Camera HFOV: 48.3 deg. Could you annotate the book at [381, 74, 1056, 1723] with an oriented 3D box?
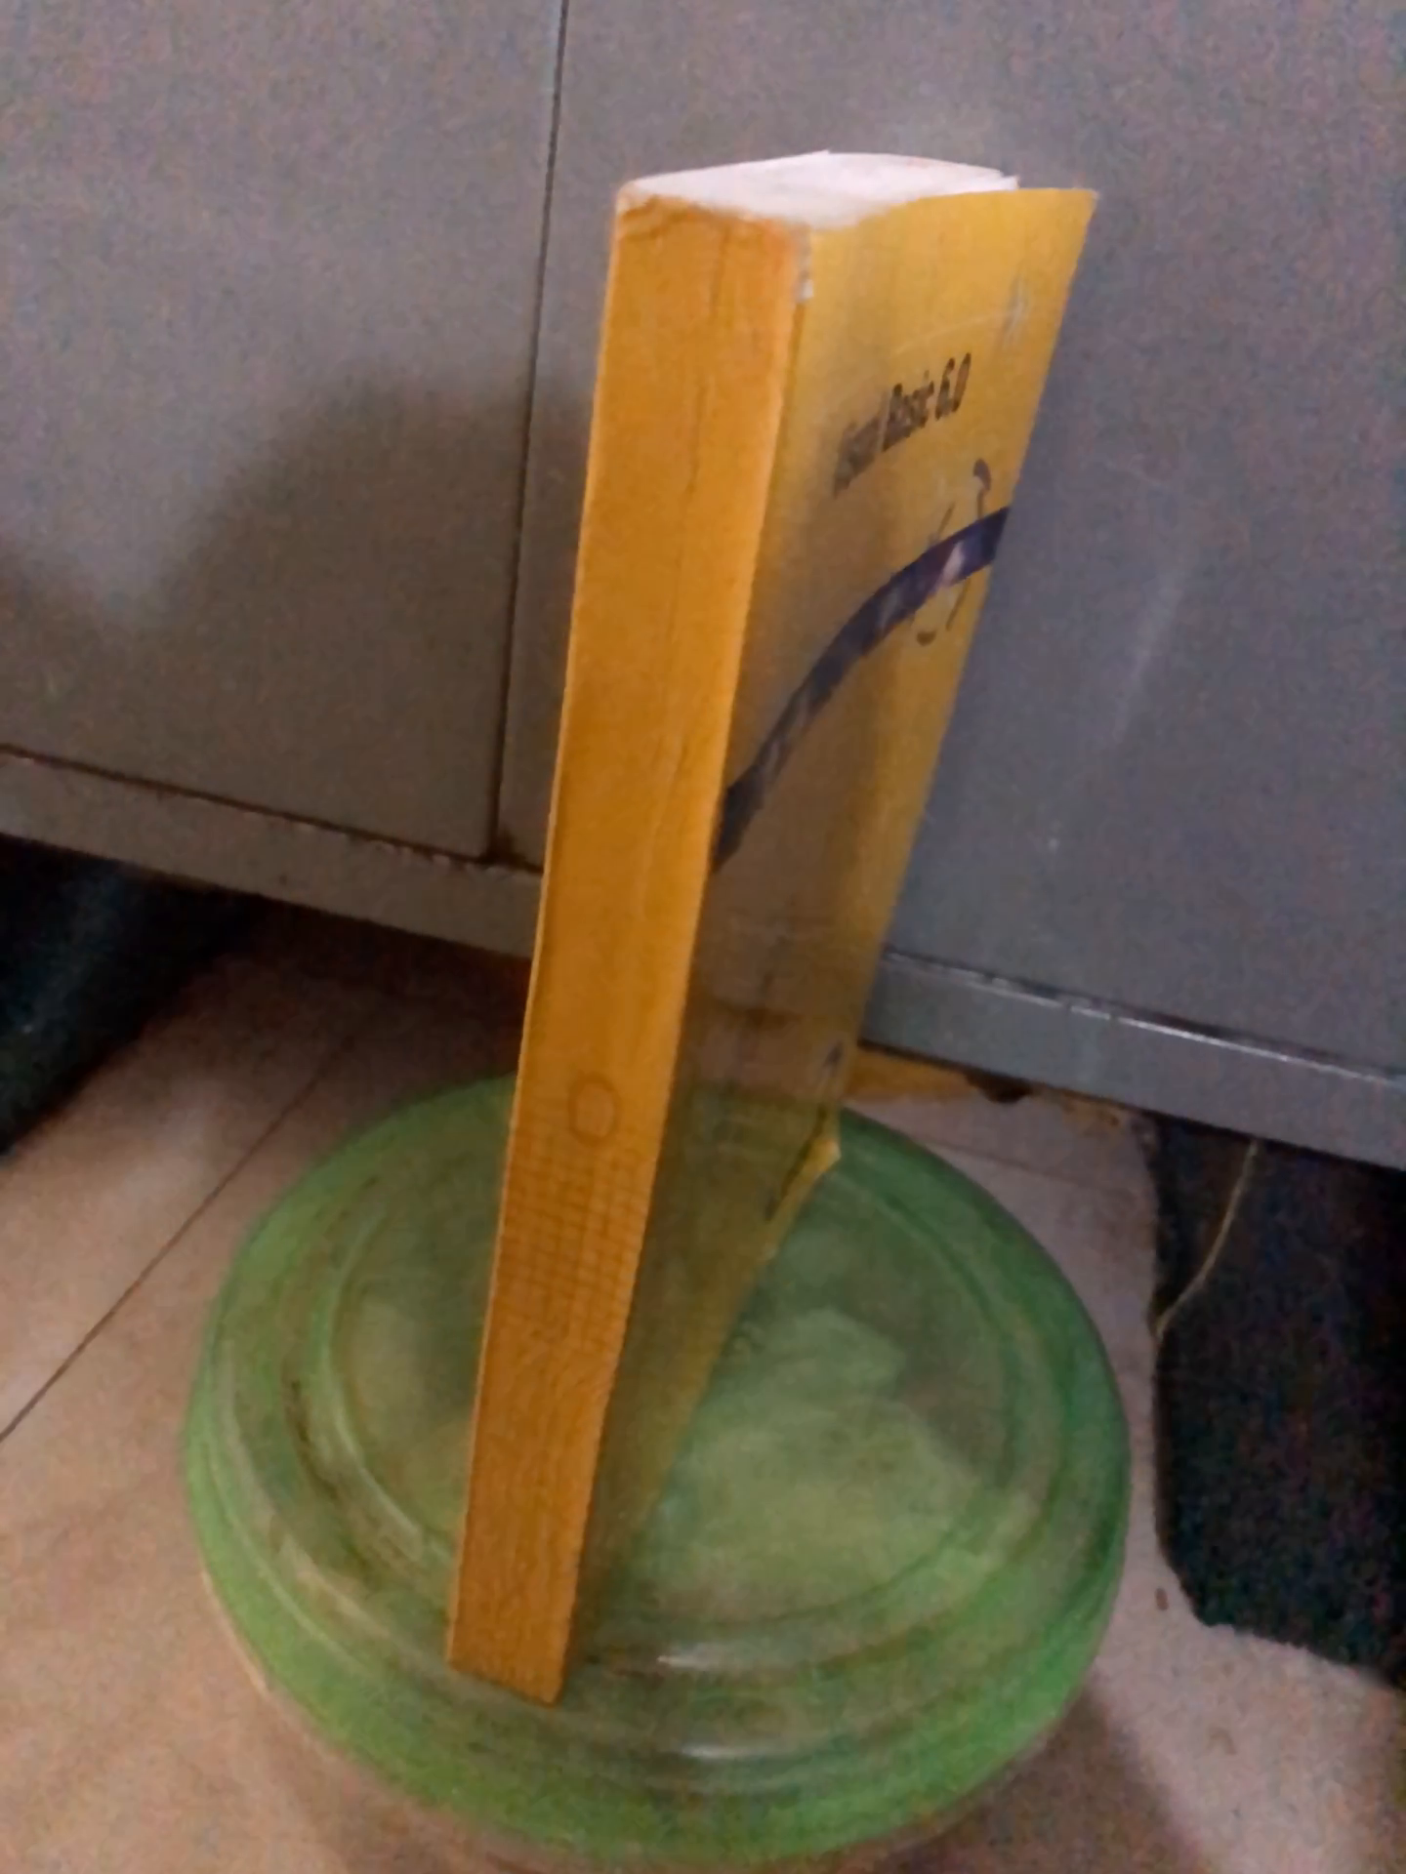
[{"bbox_3d":[0.008,-0.021,0.333,0.040,0.279,0.221,16,30,11],"label":"book"}]
